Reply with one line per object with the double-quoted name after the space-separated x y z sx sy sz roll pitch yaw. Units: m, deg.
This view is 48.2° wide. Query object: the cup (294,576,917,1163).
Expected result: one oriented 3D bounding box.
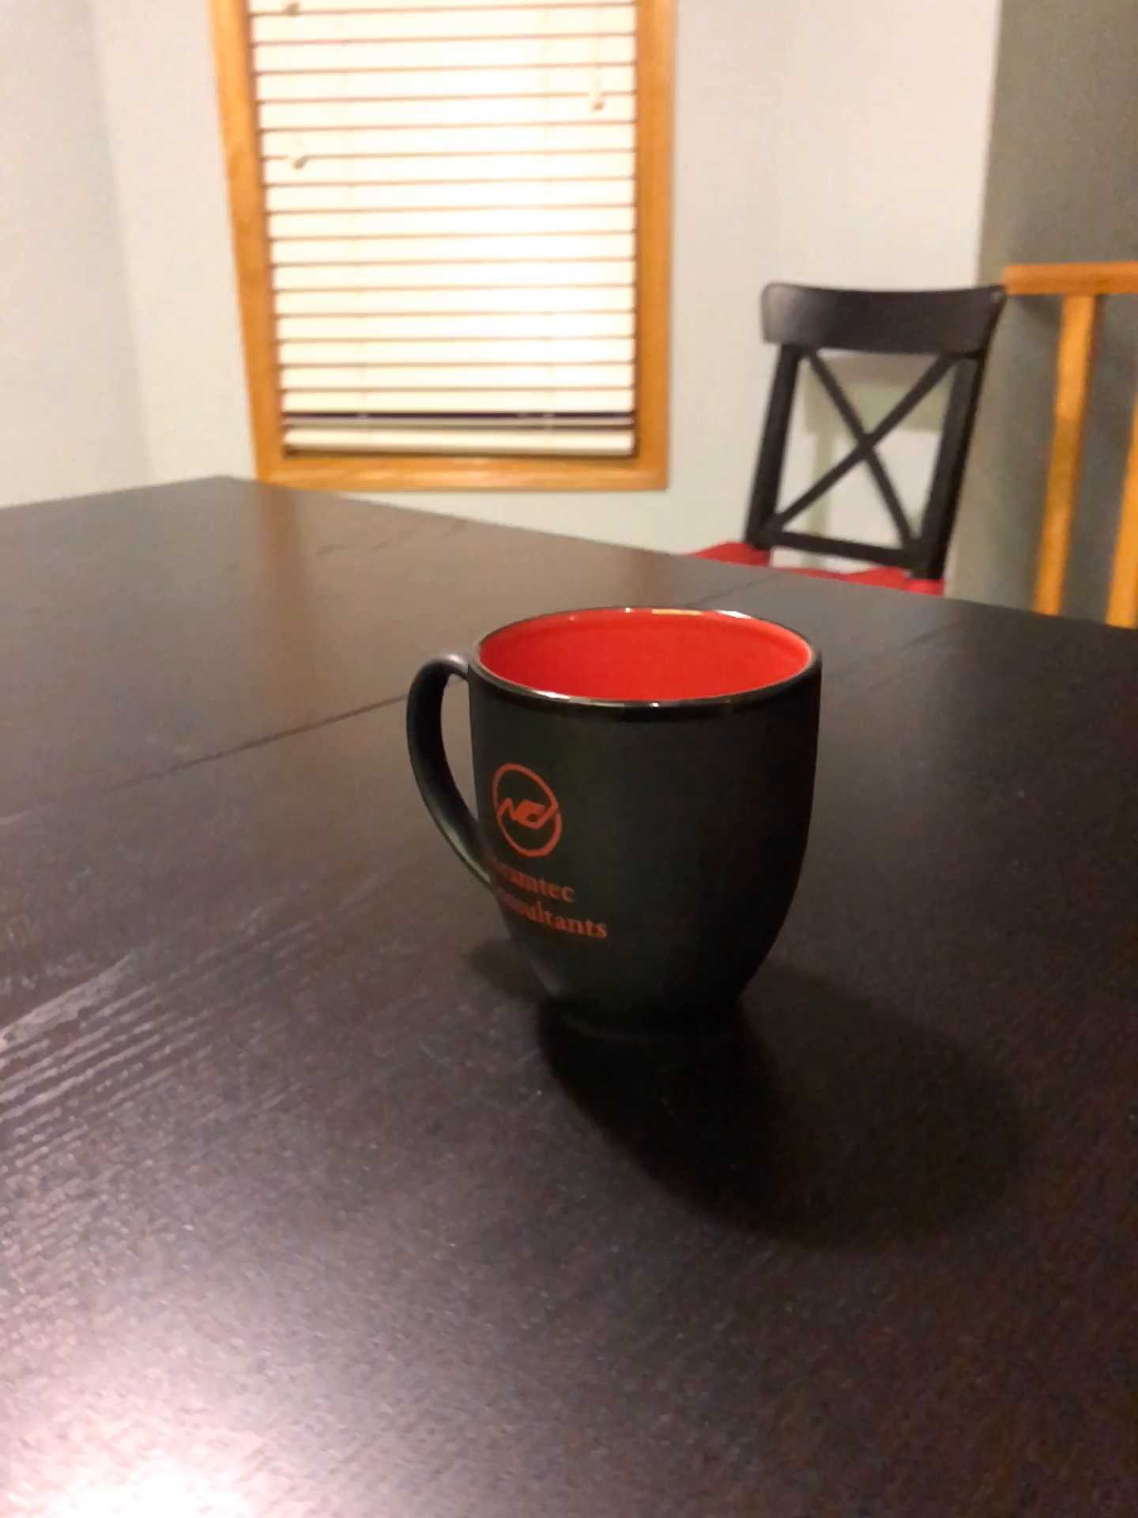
0.010 0.019 0.370 0.140 0.110 0.100 15 25 36 "cup"
